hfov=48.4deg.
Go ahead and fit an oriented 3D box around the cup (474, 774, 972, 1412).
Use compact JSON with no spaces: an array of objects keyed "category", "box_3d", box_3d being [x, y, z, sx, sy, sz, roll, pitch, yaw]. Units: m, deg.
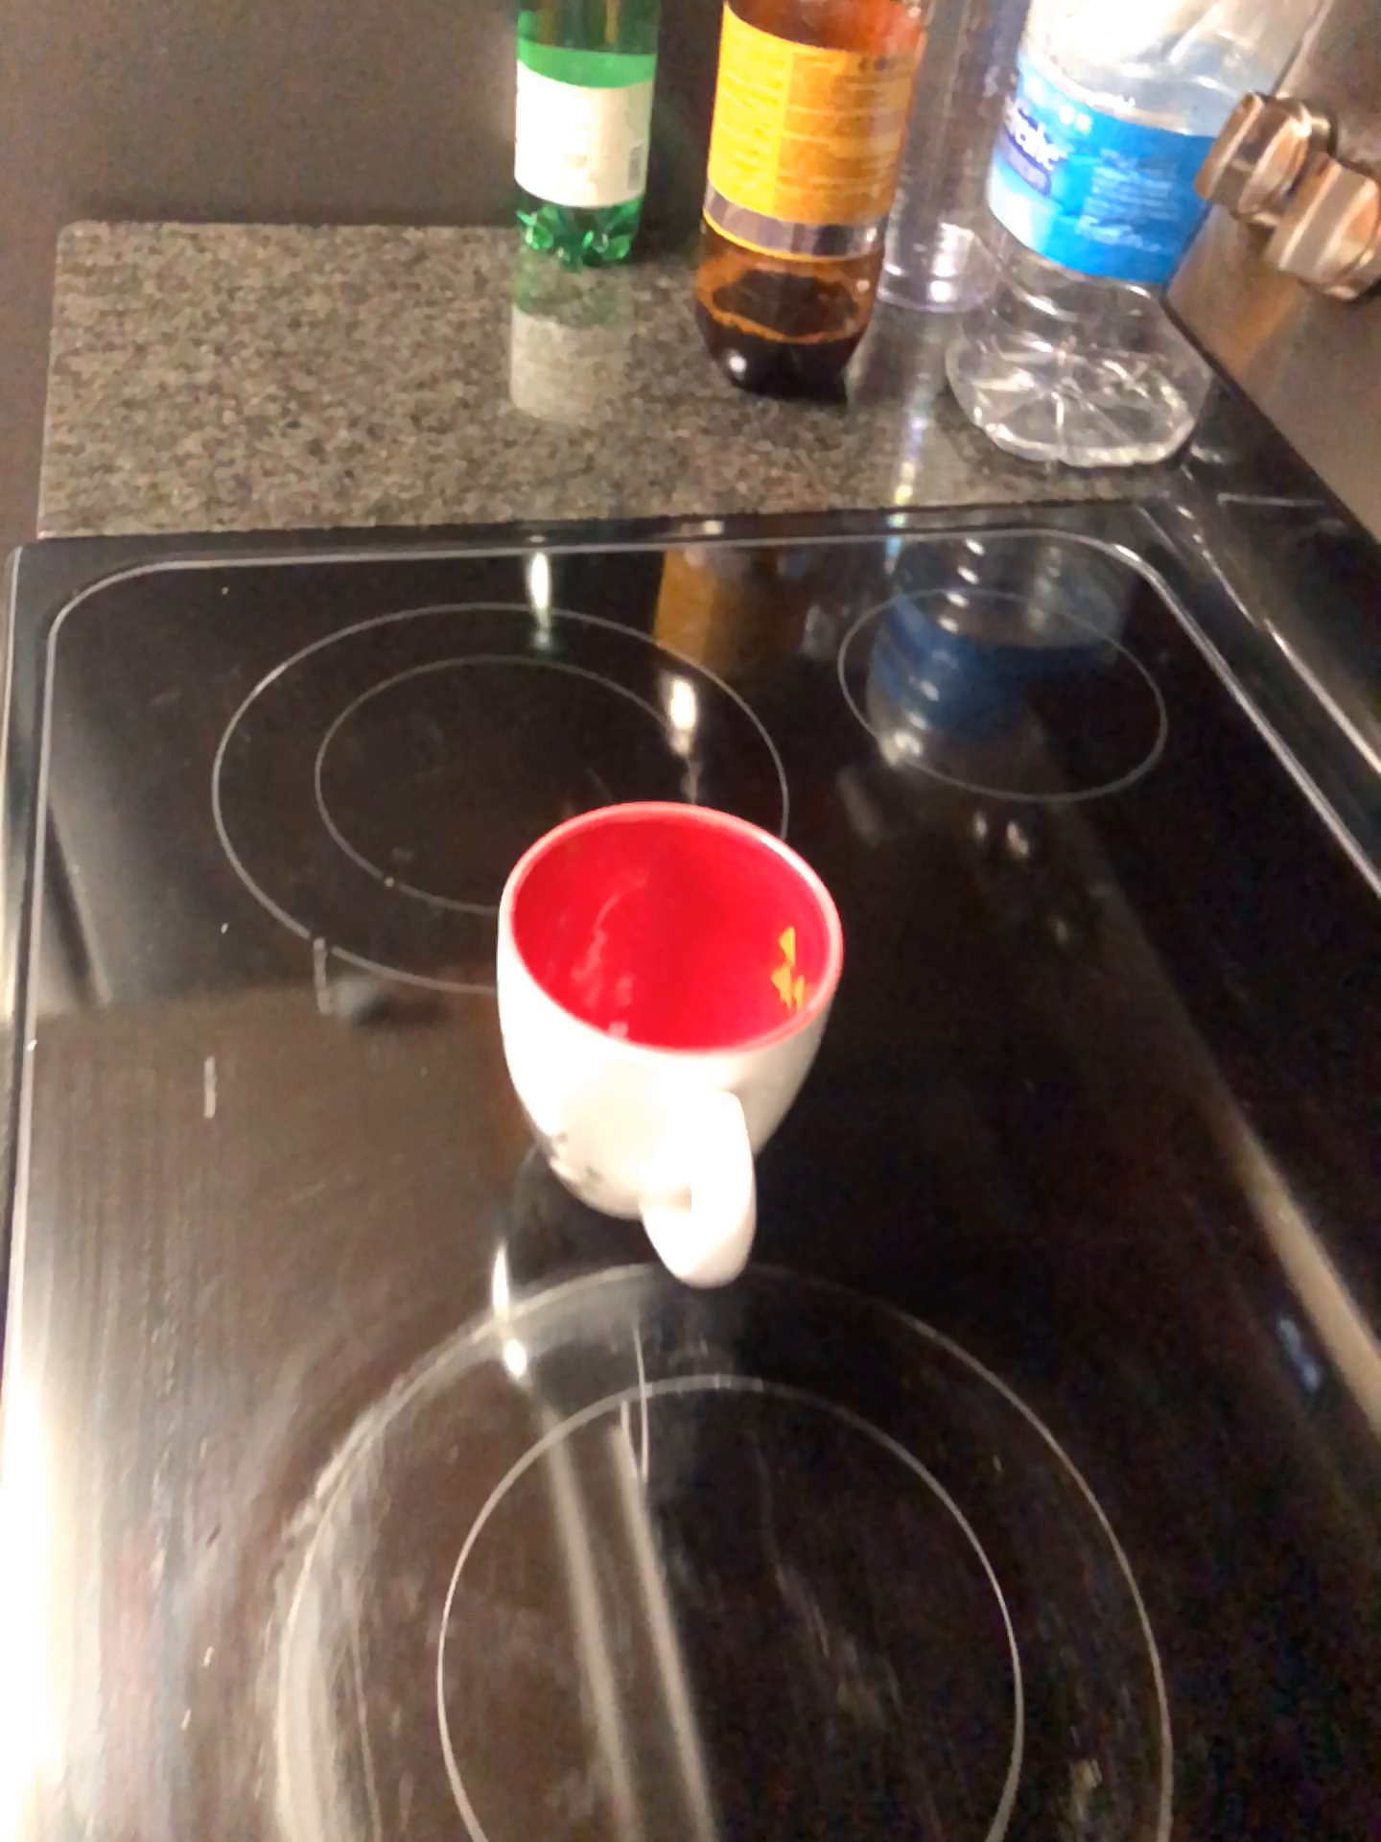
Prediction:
[{"category":"cup","box_3d":[-0.002,0.045,0.448,0.100,0.100,0.141,-6,48,-14]}]
